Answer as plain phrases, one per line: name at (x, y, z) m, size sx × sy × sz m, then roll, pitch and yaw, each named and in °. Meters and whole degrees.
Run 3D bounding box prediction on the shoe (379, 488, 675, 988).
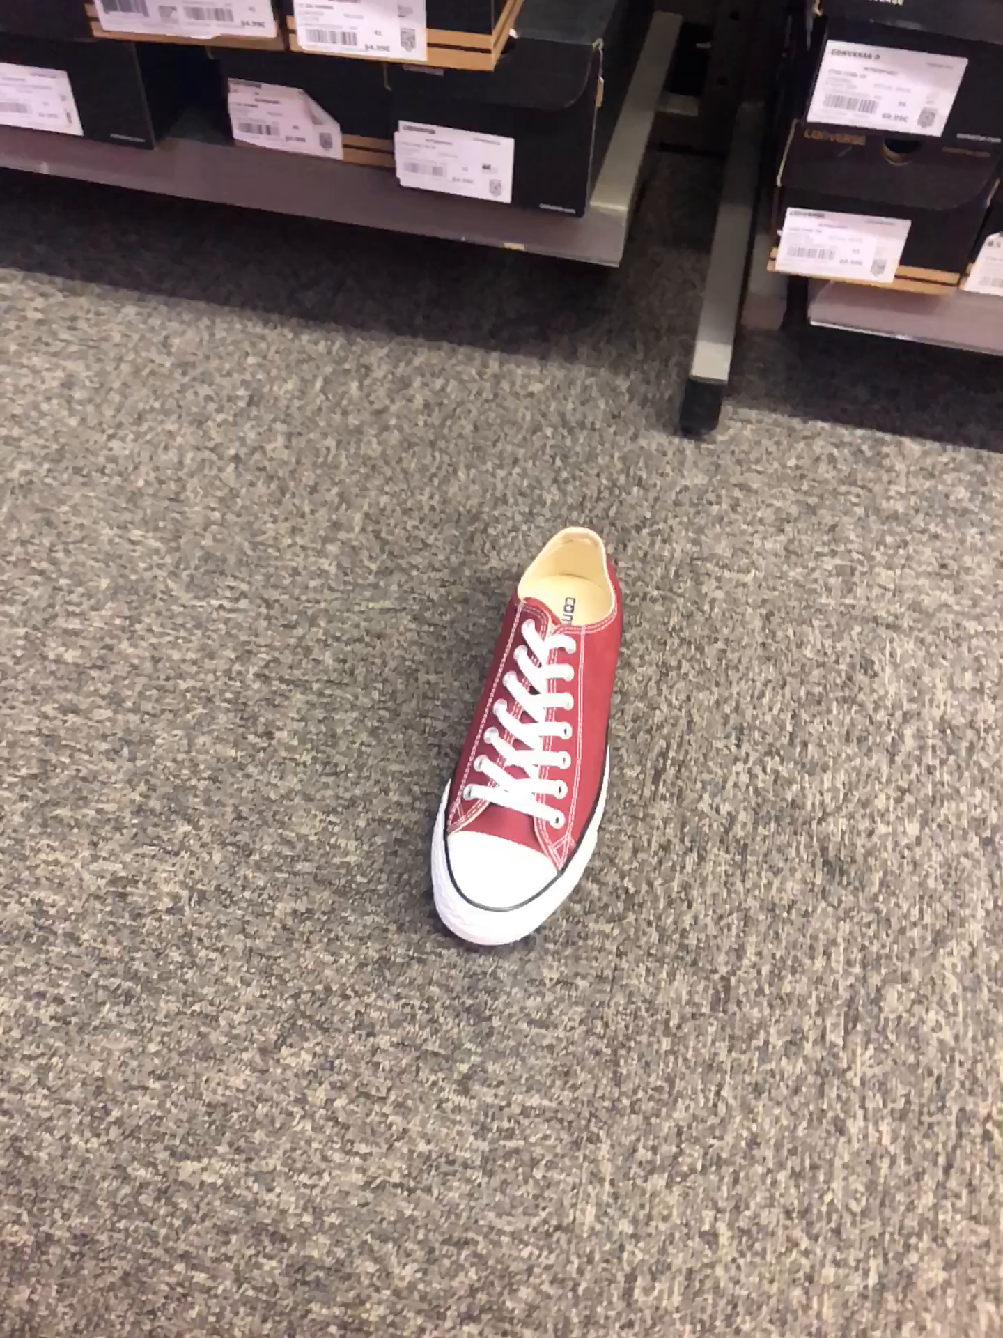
shoe at (0.023, 0.032, 0.666) m, size 0.100 × 0.090 × 0.281 m, roll 14°, pitch 57°, yaw 8°
